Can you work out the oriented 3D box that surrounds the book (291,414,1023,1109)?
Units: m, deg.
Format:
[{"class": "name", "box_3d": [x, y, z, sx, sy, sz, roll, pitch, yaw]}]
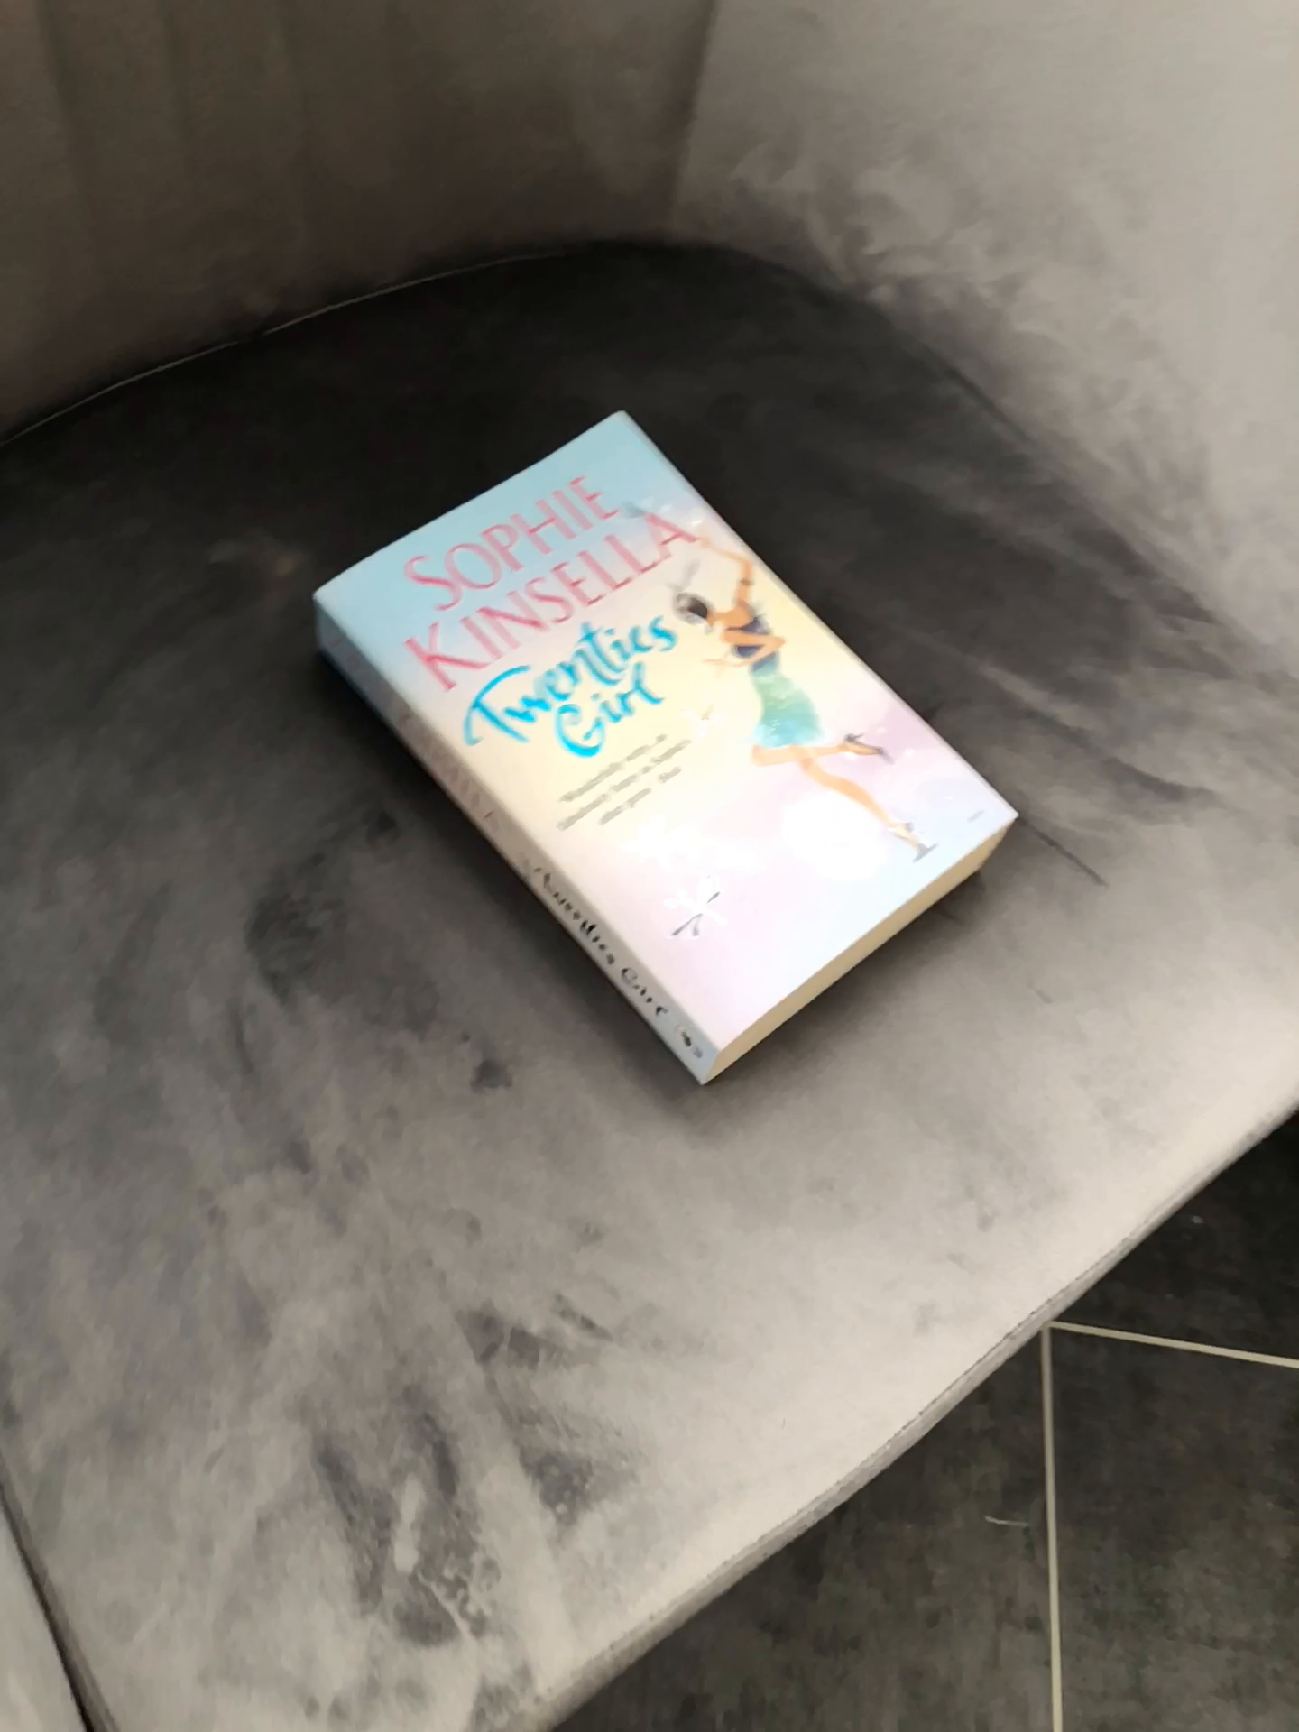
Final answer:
[{"class": "book", "box_3d": [-0.001, -0.043, 0.465, 0.132, 0.043, 0.200, -35, 72, -25]}]
